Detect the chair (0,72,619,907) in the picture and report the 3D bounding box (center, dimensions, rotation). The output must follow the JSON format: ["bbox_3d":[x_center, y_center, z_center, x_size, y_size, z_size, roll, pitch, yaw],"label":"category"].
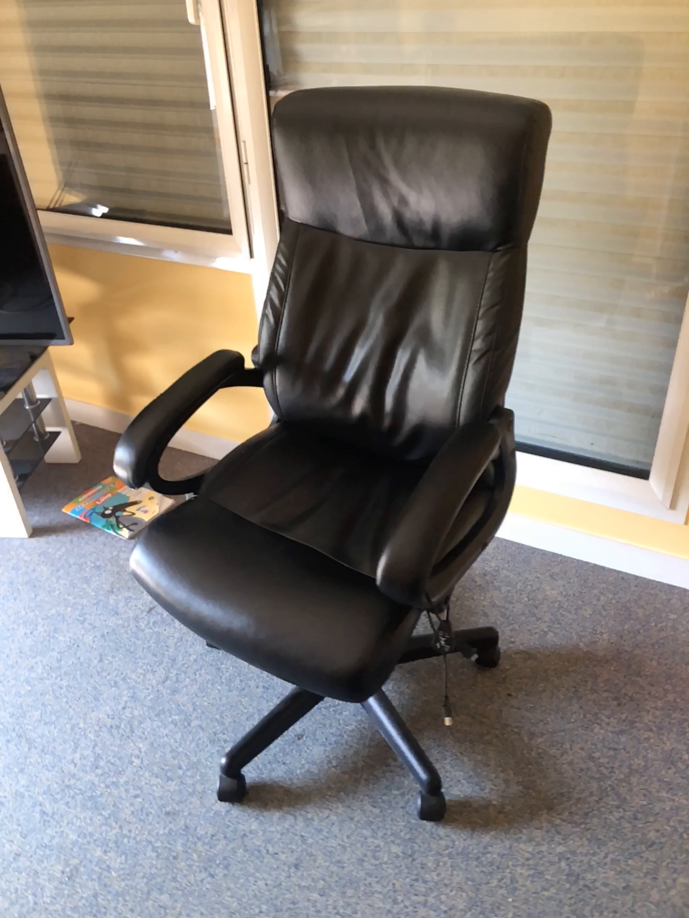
[{"bbox_3d":[-0.031,-0.002,1.331,0.660,1.113,0.755,16,38,26],"label":"chair"}]
